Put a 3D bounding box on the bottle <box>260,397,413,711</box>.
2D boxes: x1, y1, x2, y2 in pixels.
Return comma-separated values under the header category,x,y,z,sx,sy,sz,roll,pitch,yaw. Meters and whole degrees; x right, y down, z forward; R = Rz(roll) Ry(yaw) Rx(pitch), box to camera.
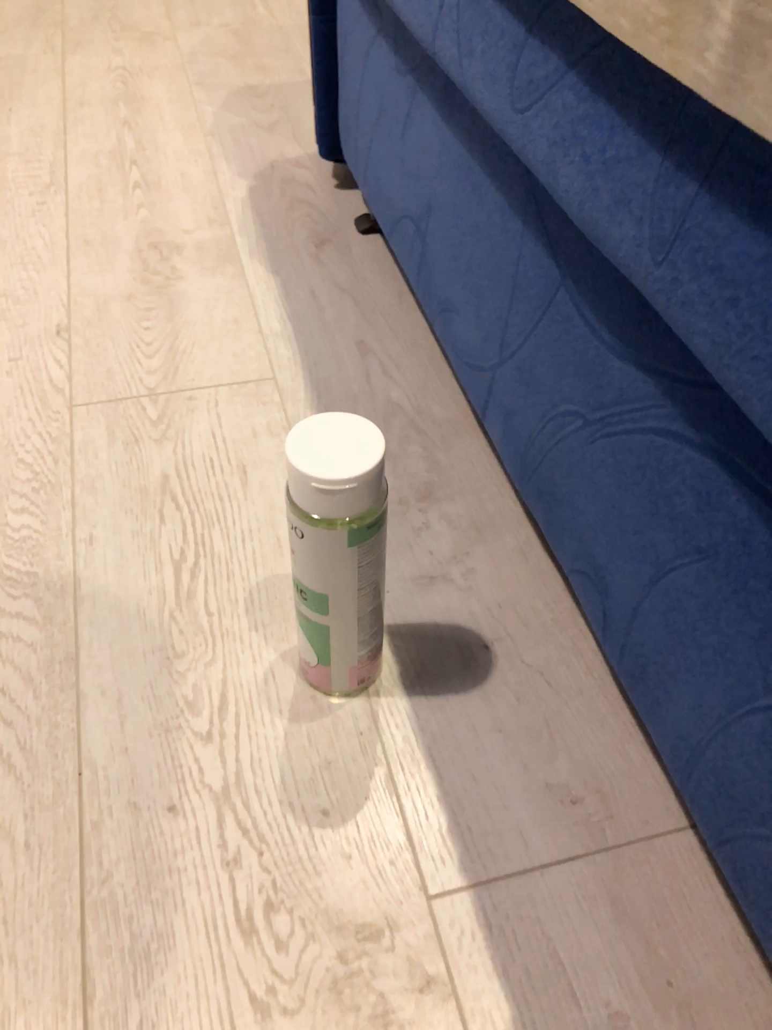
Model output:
category,x,y,z,sx,sy,sz,roll,pitch,yaw
bottle,-0.025,0.026,0.433,0.053,0.160,0.057,1,46,-1
